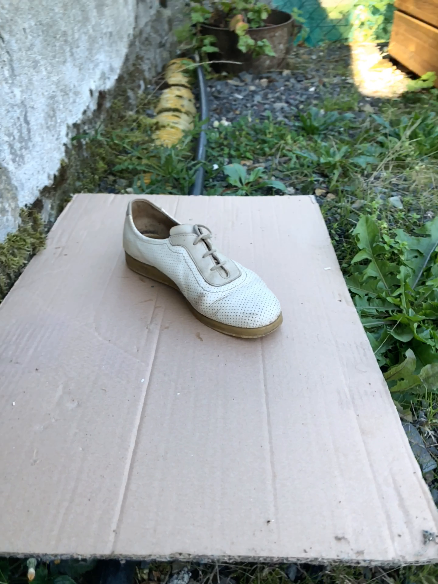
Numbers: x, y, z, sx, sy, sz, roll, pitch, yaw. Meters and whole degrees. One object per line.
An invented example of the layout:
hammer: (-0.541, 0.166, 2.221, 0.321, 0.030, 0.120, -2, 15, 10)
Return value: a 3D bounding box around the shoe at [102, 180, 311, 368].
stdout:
shoe: (-0.024, -0.036, 0.571, 0.090, 0.089, 0.260, -31, 47, -29)
